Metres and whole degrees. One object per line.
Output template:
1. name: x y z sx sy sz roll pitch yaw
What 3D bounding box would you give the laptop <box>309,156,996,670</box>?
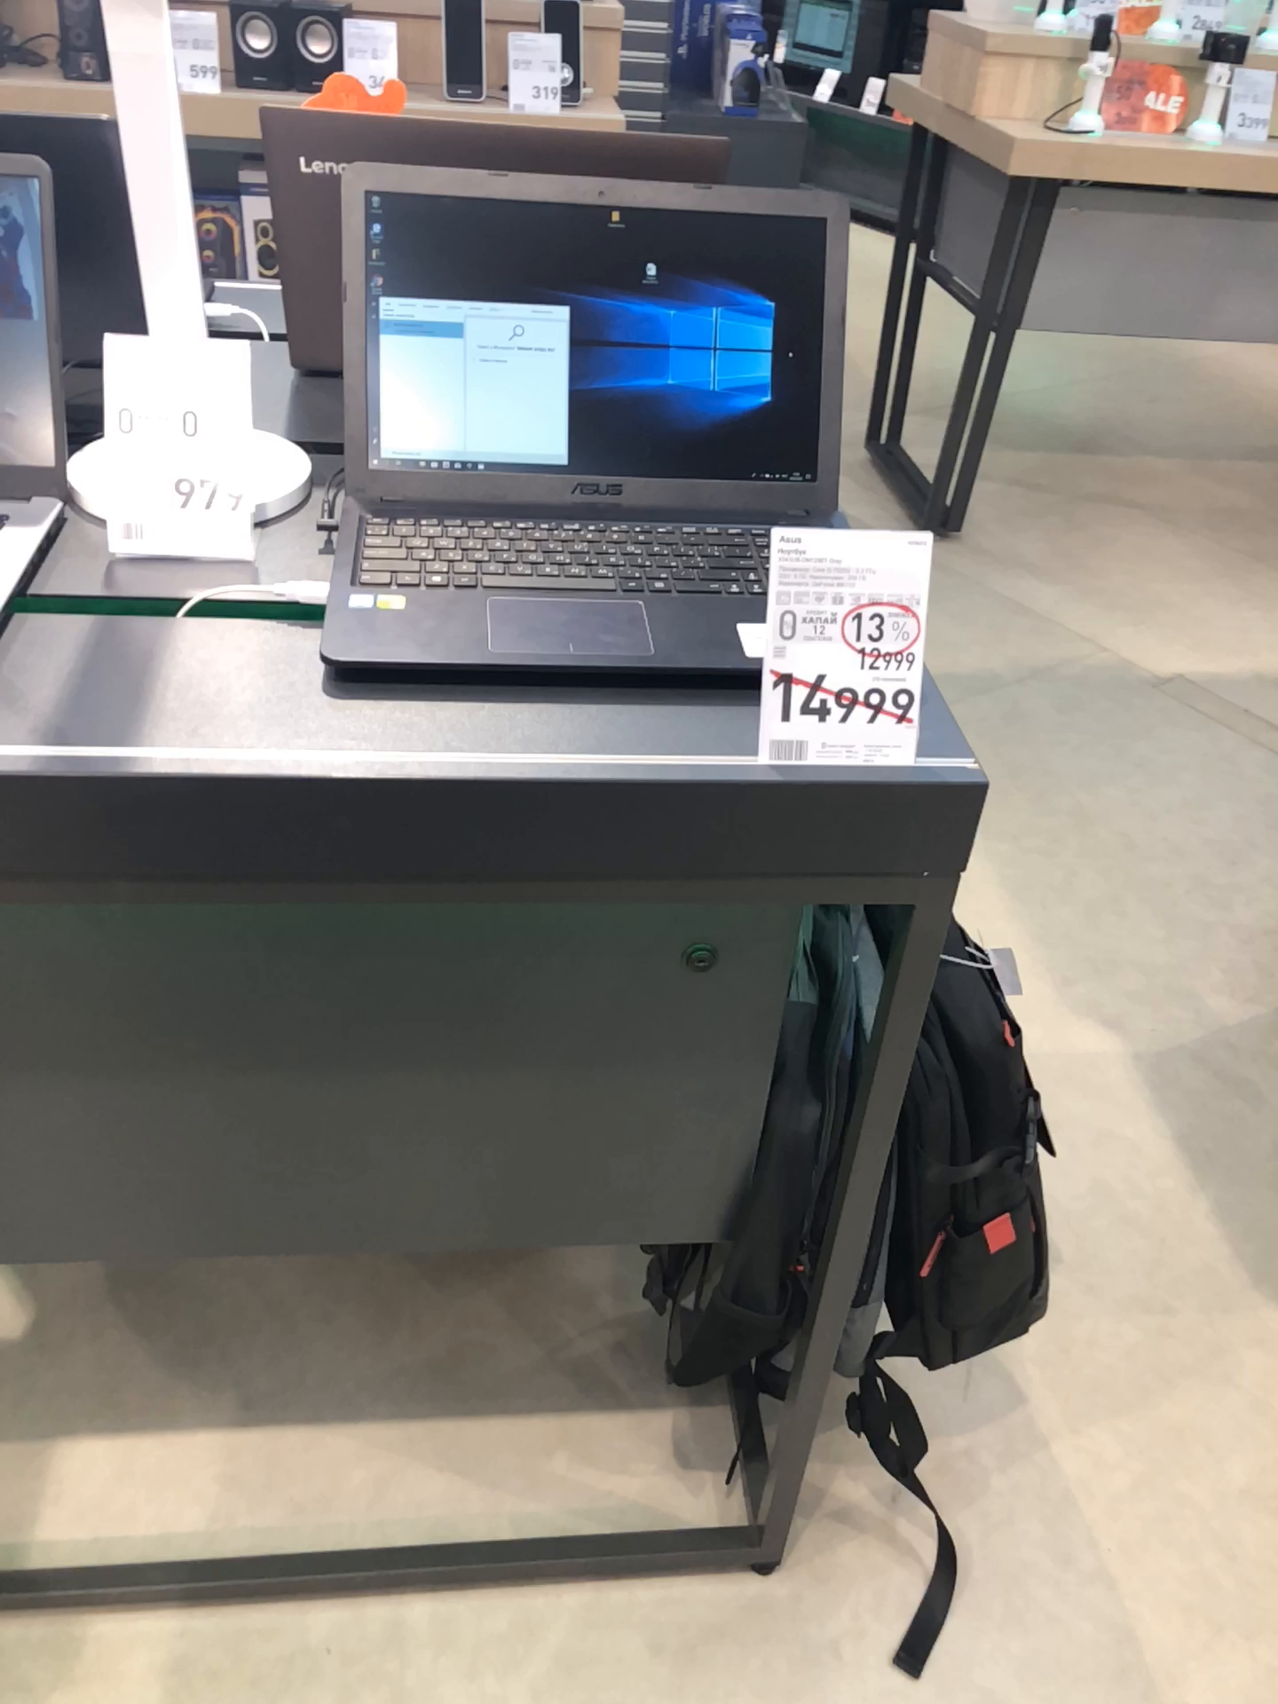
1. laptop: -0.015 -0.317 0.974 0.380 0.209 0.372 0 37 -7
